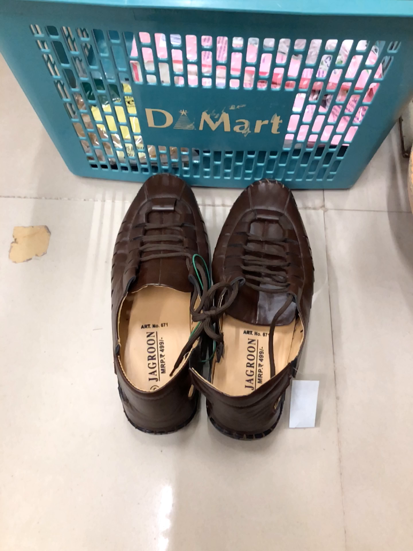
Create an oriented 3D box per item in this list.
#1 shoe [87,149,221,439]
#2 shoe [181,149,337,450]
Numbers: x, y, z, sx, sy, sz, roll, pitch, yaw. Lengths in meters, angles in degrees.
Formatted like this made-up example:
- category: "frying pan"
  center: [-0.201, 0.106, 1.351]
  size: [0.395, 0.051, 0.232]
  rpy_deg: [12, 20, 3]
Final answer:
- category: "shoe"
  center: [-0.047, 0.016, 0.464]
  size: [0.107, 0.101, 0.273]
  rpy_deg: [-2, 66, -1]
- category: "shoe"
  center: [0.056, 0.021, 0.461]
  size: [0.112, 0.101, 0.273]
  rpy_deg: [9, 67, 3]
